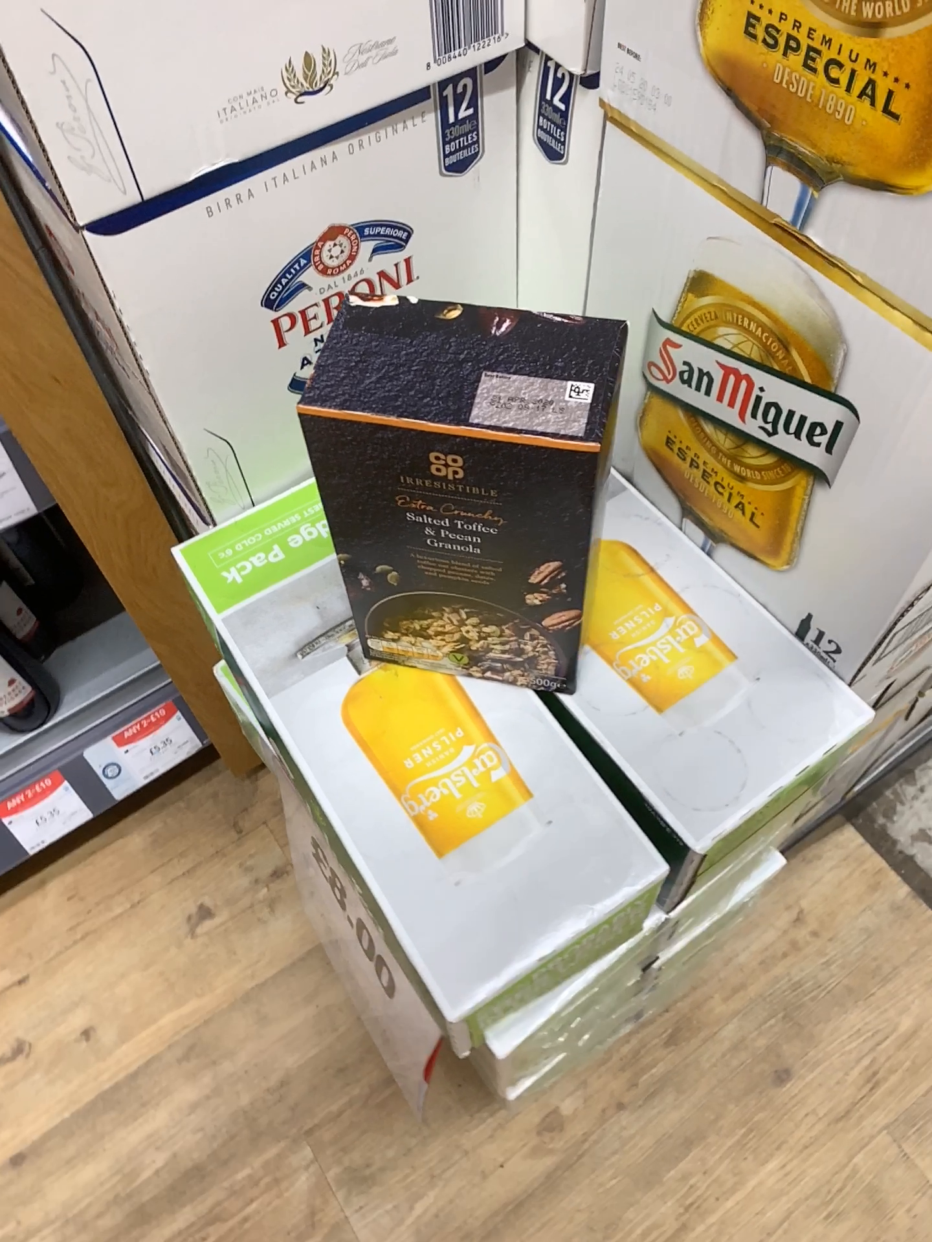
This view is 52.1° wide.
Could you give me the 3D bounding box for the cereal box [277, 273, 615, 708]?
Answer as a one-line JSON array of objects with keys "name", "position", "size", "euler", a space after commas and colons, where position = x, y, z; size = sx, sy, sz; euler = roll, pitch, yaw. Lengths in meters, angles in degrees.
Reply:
[{"name": "cereal box", "position": [-0.001, -0.051, 0.467], "size": [0.120, 0.209, 0.081], "euler": [9, 58, 9]}]
